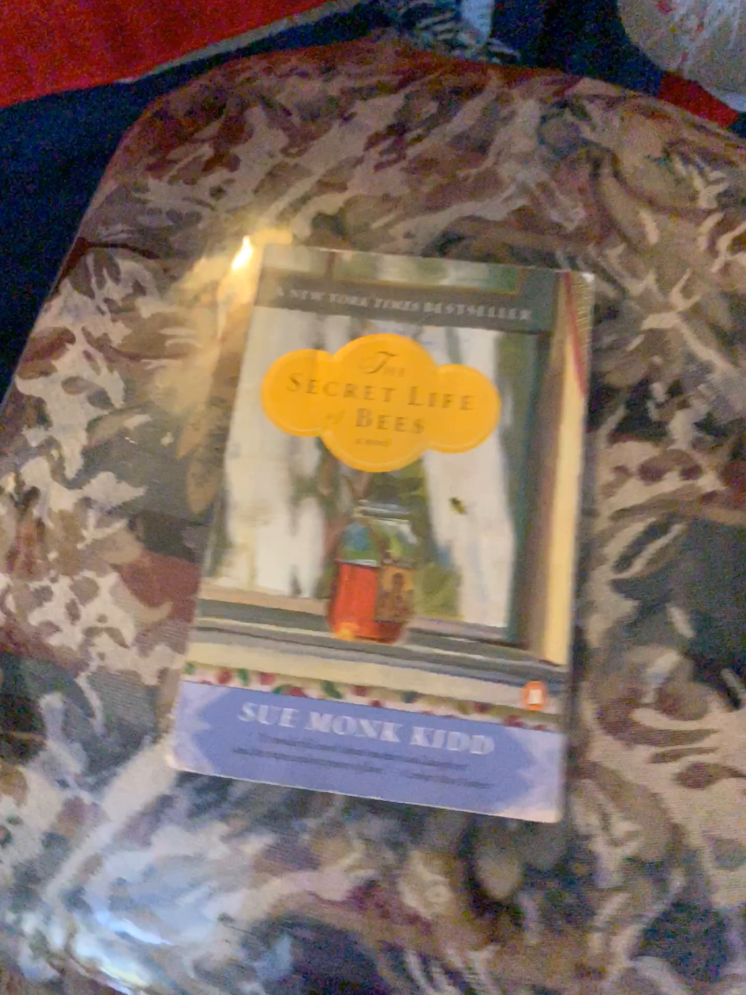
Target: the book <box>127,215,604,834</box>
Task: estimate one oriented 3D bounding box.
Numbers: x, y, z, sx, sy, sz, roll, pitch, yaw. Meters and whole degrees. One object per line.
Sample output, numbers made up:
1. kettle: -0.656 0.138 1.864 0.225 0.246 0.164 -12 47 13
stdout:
1. book: 0.006 -0.001 0.288 0.140 0.040 0.210 5 73 8
